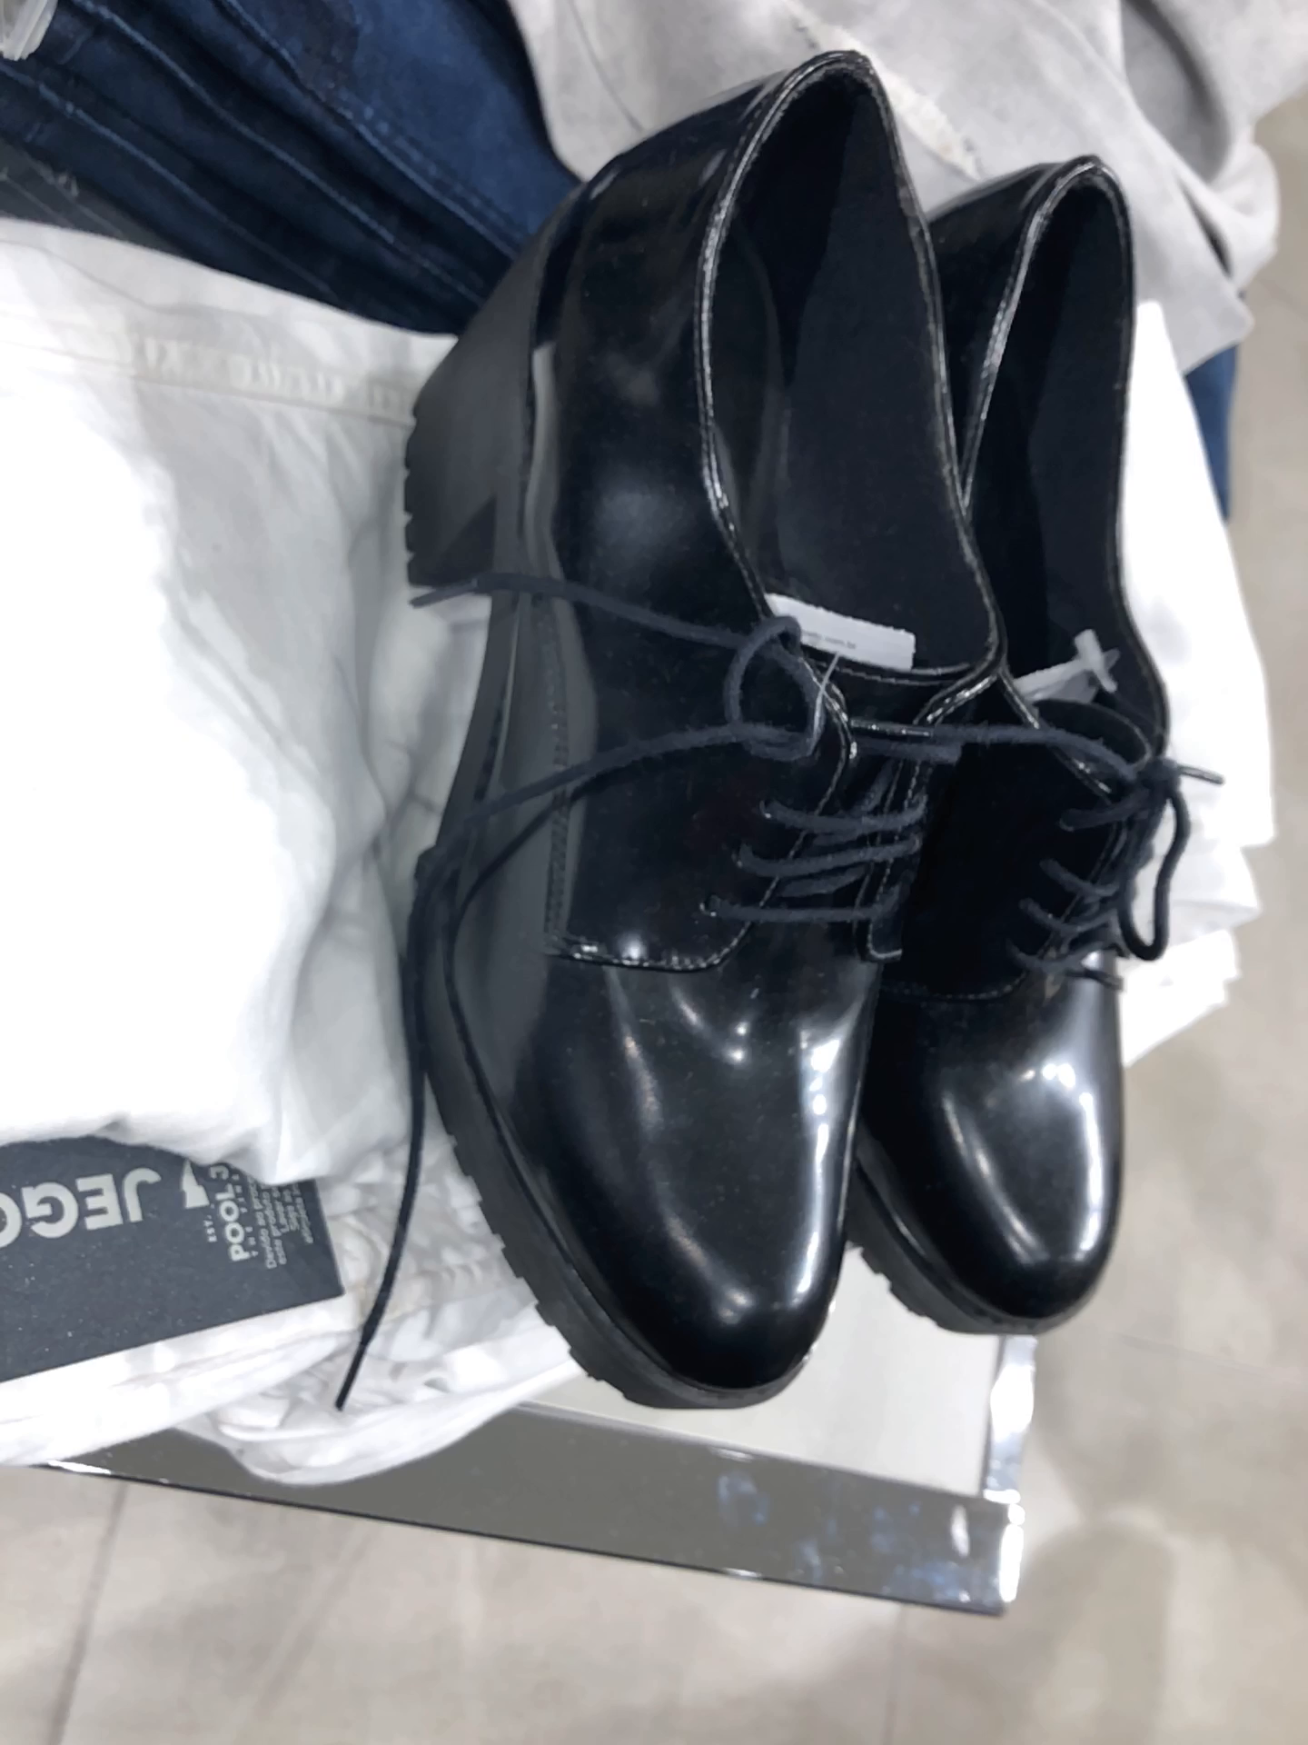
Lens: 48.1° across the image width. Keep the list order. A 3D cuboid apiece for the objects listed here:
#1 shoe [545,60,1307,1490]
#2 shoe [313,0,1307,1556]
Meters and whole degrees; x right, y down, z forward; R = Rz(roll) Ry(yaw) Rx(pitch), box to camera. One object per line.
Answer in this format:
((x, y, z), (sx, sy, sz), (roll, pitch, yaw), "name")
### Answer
((0.083, -0.016, 0.340), (0.101, 0.149, 0.260), (-13, 82, -29), "shoe")
((0.015, -0.020, 0.308), (0.100, 0.159, 0.260), (-5, 78, -28), "shoe")
